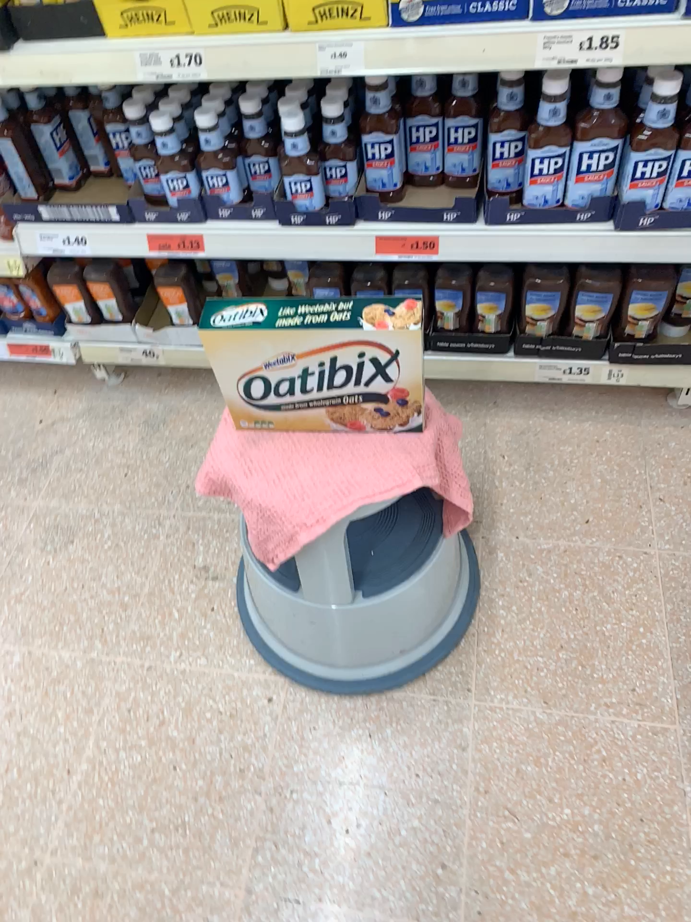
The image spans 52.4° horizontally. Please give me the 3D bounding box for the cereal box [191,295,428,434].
[{"bbox_3d":[-0.034,-0.117,0.897,0.270,0.189,0.060,1,55,9],"label":"cereal box"}]
